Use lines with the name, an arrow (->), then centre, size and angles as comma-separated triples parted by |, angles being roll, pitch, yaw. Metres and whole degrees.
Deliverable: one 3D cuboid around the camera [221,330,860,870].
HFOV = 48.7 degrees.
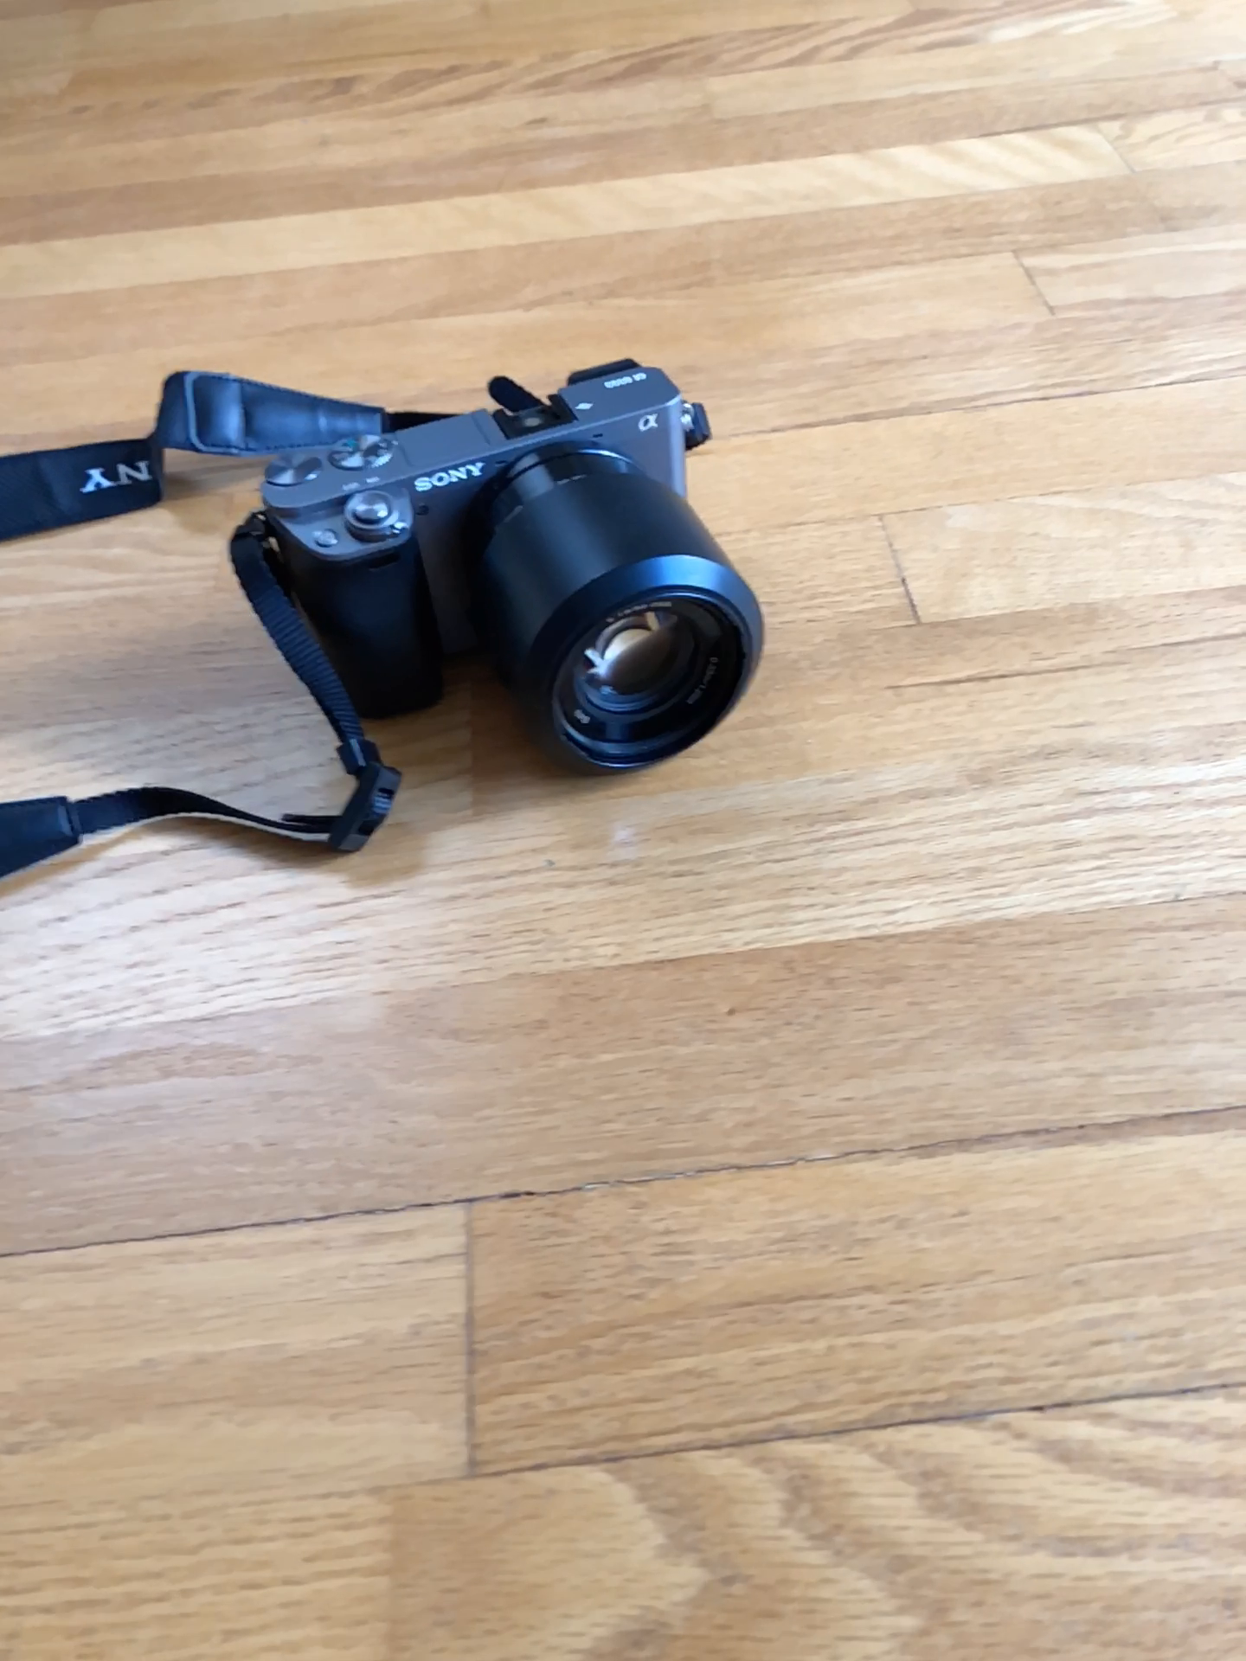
camera -> -0.024, -0.069, 0.382 | 0.140, 0.060, 0.111 | -19, 49, -11
